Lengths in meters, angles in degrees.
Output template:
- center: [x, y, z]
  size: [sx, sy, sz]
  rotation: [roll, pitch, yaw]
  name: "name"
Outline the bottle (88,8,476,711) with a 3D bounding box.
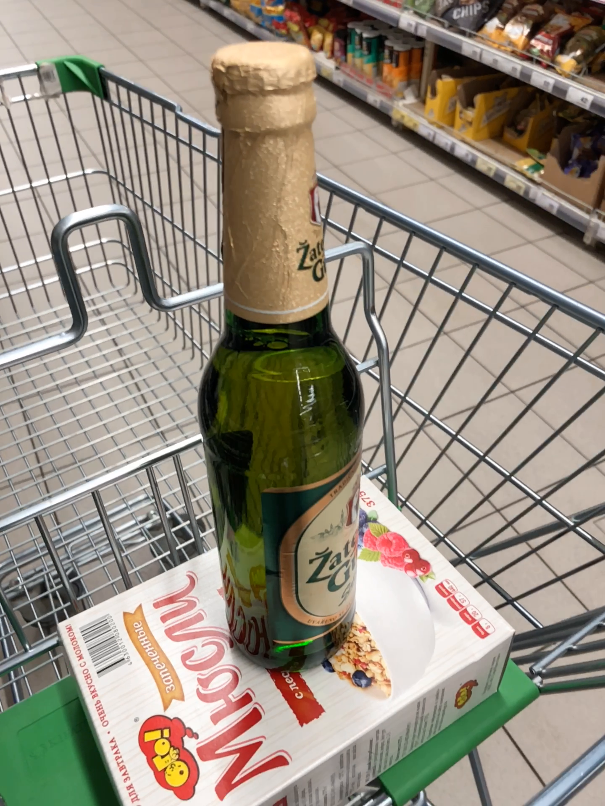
- center: [-0.002, 0.010, 0.262]
  size: [0.070, 0.268, 0.080]
  rotation: [20, 45, 20]
  name: "bottle"
